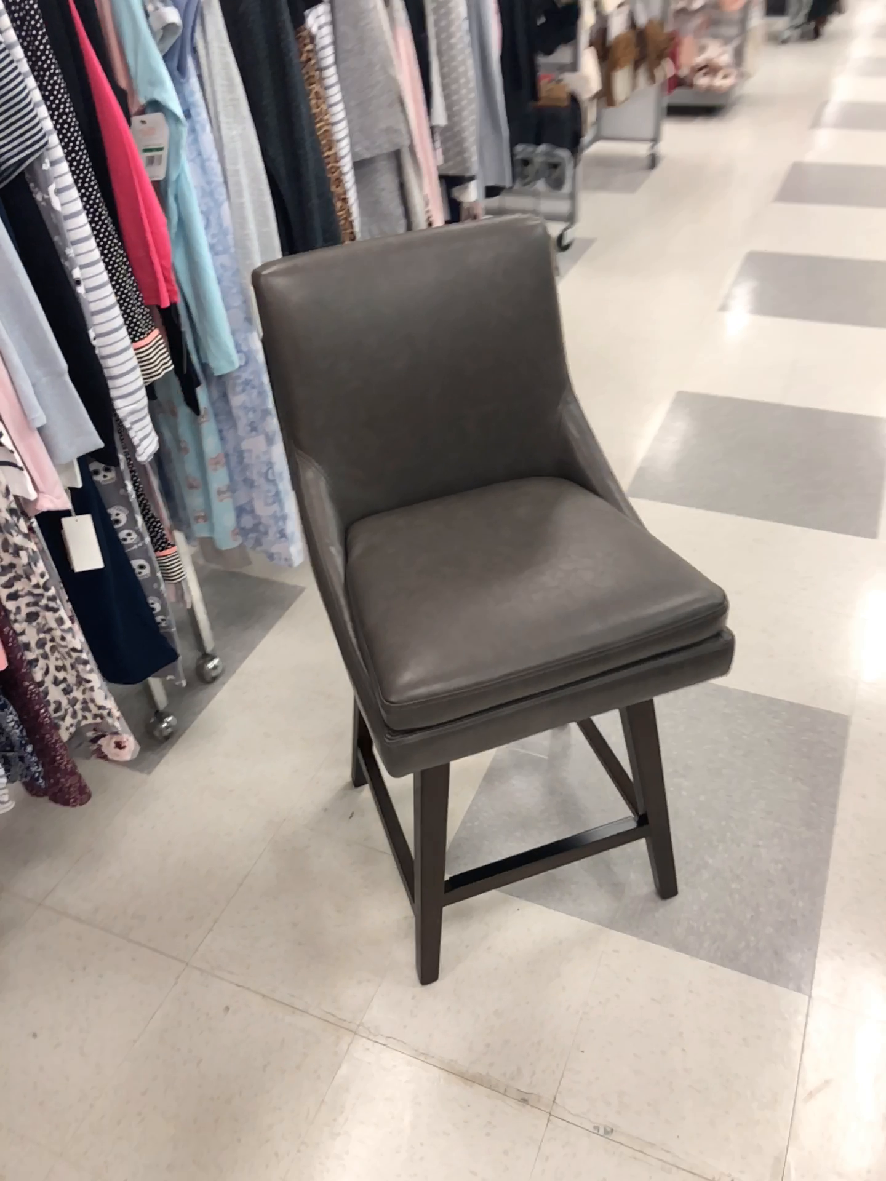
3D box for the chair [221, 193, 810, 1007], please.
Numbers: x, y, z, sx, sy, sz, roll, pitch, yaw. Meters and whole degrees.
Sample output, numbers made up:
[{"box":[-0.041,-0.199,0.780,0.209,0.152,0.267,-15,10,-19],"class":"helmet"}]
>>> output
[{"box":[0.063,0.016,1.403,0.492,0.918,0.581,-15,39,-13],"class":"chair"}]
